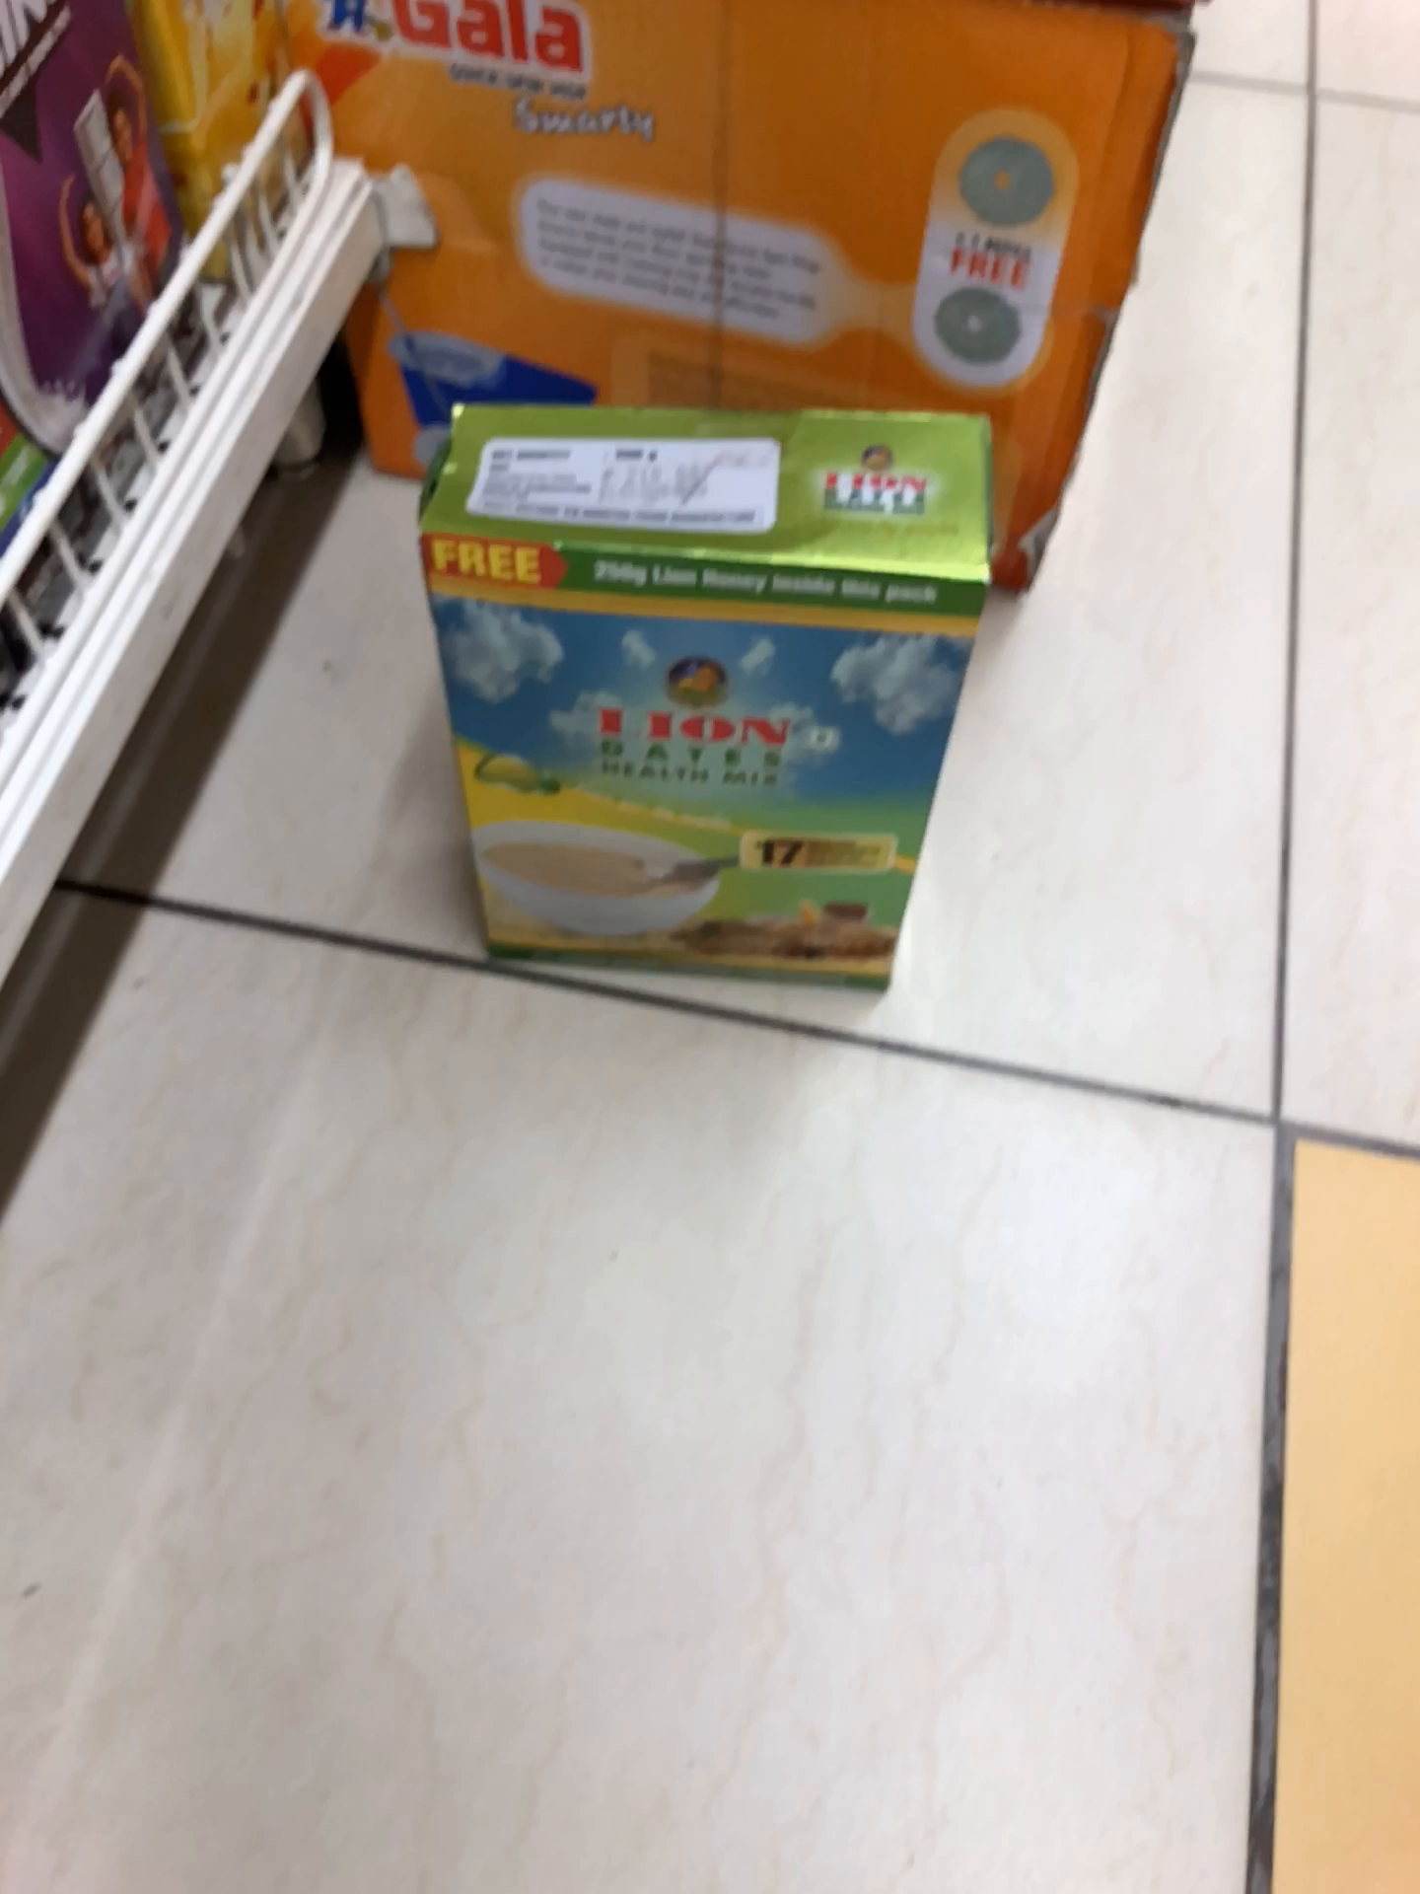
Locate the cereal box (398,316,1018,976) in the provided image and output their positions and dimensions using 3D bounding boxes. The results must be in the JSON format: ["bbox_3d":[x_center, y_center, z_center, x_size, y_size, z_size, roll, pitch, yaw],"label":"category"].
[{"bbox_3d":[-0.003,-0.083,0.525,0.160,0.229,0.070,4,59,0],"label":"cereal box"}]
